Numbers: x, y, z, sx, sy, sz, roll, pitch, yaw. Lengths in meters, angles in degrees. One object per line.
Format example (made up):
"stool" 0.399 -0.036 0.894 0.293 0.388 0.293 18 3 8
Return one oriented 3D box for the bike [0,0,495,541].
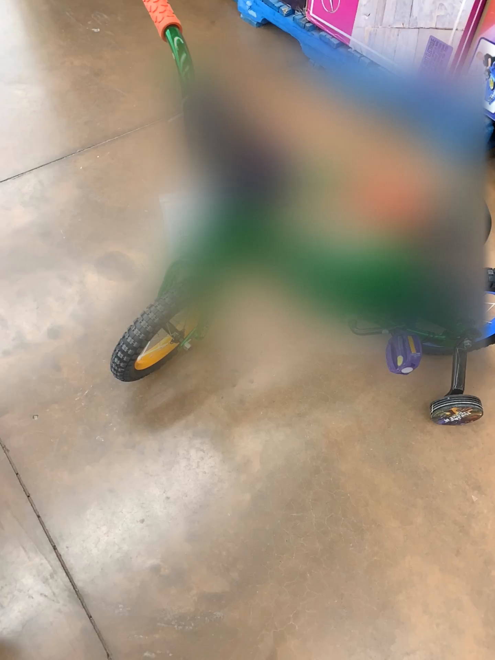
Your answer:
"bike" 0.169 -0.074 0.814 0.829 0.678 0.532 -4 56 -5
